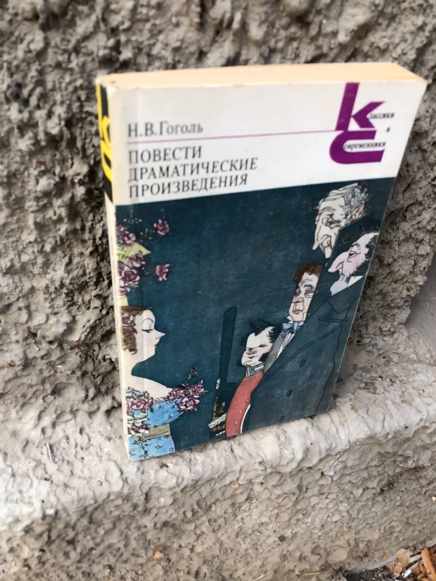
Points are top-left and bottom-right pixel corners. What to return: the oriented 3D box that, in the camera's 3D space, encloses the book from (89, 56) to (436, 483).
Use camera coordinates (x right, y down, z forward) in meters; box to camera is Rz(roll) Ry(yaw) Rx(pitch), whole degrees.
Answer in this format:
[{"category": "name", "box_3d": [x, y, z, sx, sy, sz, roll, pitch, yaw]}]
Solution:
[{"category": "book", "box_3d": [0.019, -0.002, 0.226, 0.137, 0.190, 0.030, -11, 37, -22]}]
